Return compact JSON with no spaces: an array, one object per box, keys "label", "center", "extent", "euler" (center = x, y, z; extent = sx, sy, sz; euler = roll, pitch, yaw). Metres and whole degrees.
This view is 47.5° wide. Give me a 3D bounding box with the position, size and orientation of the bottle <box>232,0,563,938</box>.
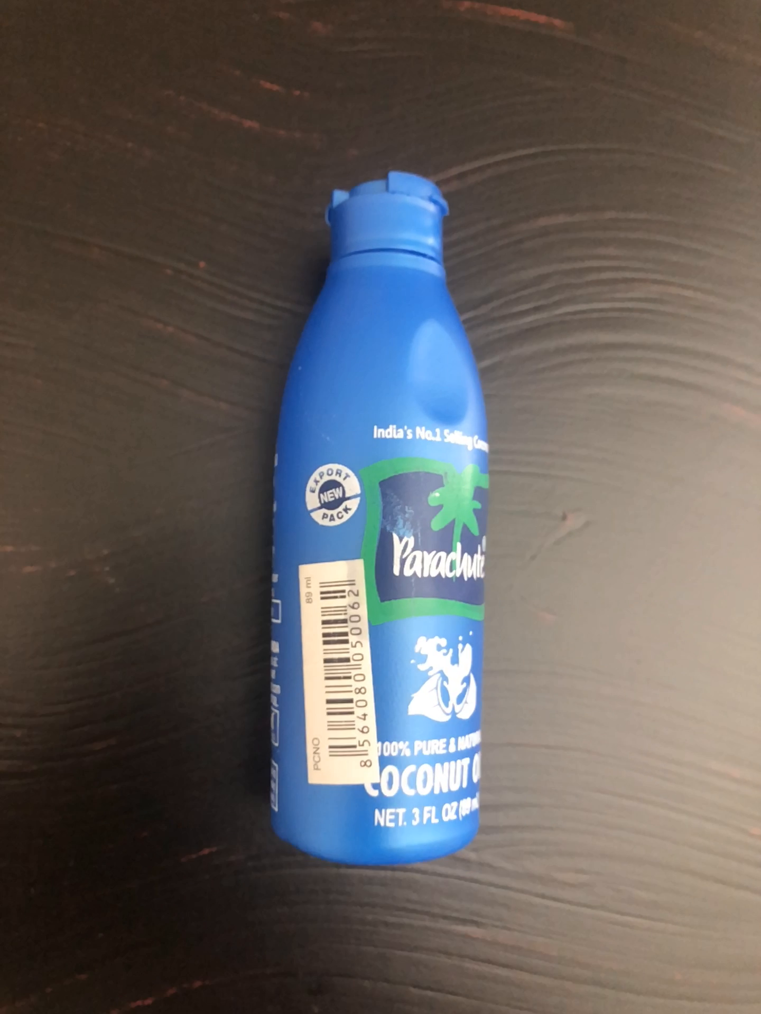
[{"label":"bottle","center":[0.003,-0.006,0.156],"extent":[0.040,0.040,0.140],"euler":[5,84,-37]}]
